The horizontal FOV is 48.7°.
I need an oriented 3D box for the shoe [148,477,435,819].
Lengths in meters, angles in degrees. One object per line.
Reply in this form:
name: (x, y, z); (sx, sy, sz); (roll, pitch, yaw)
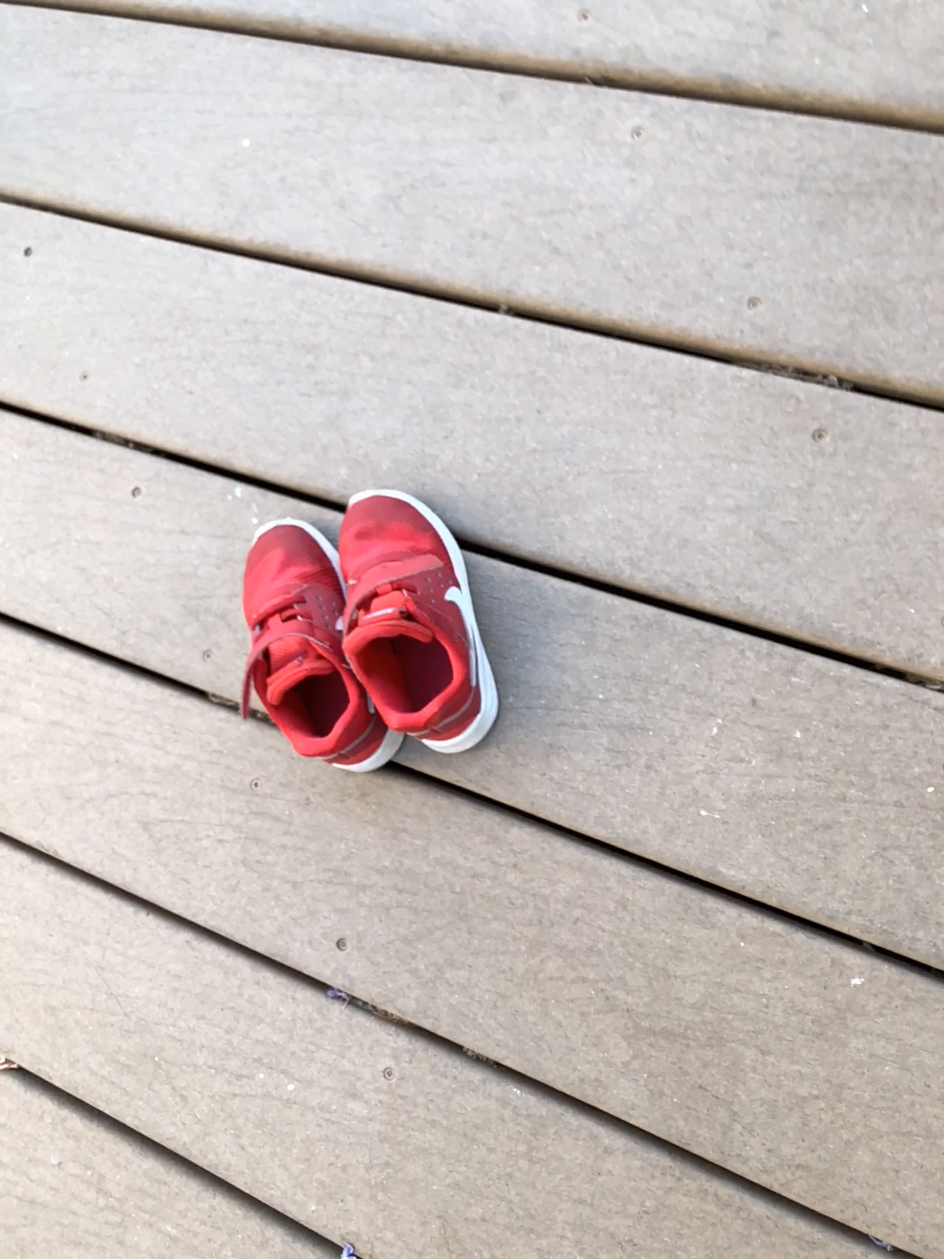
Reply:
shoe: (-0.102, 0.012, 0.603); (0.077, 0.087, 0.167); (-27, 79, 14)

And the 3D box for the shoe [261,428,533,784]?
shoe: (-0.039, -0.010, 0.577); (0.077, 0.087, 0.167); (-21, 80, 15)
